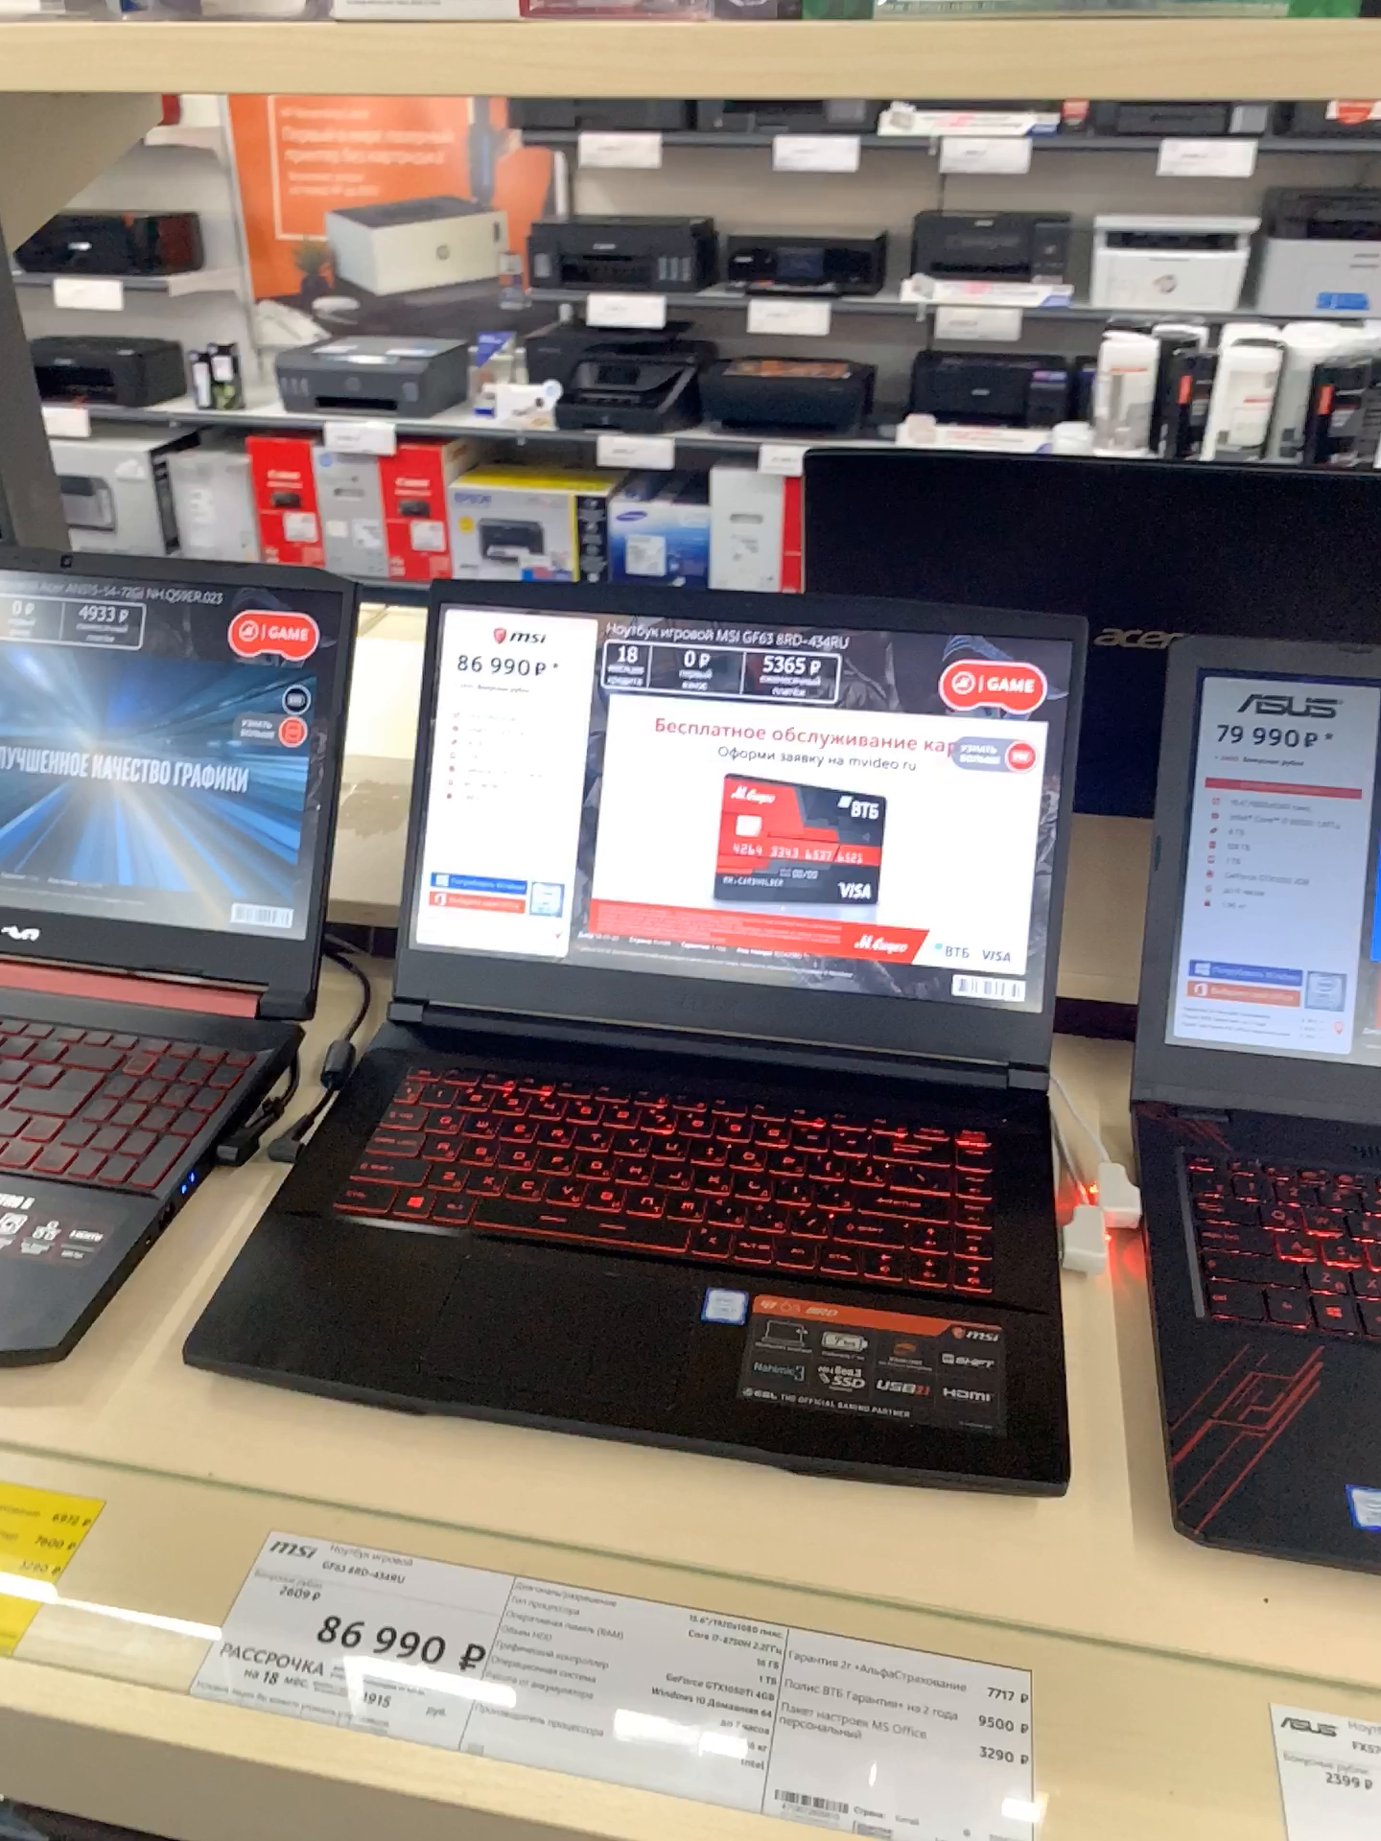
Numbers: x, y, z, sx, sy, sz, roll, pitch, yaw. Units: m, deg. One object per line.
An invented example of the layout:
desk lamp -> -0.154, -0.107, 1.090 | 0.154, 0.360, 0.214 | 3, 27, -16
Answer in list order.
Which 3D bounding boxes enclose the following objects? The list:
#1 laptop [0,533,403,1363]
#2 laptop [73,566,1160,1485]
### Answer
laptop -> -0.384, -0.025, 0.694 | 0.334, 0.211, 0.373 | 6, 31, 10
laptop -> 0.000, 0.007, 0.652 | 0.350, 0.204, 0.372 | 5, 32, 8
